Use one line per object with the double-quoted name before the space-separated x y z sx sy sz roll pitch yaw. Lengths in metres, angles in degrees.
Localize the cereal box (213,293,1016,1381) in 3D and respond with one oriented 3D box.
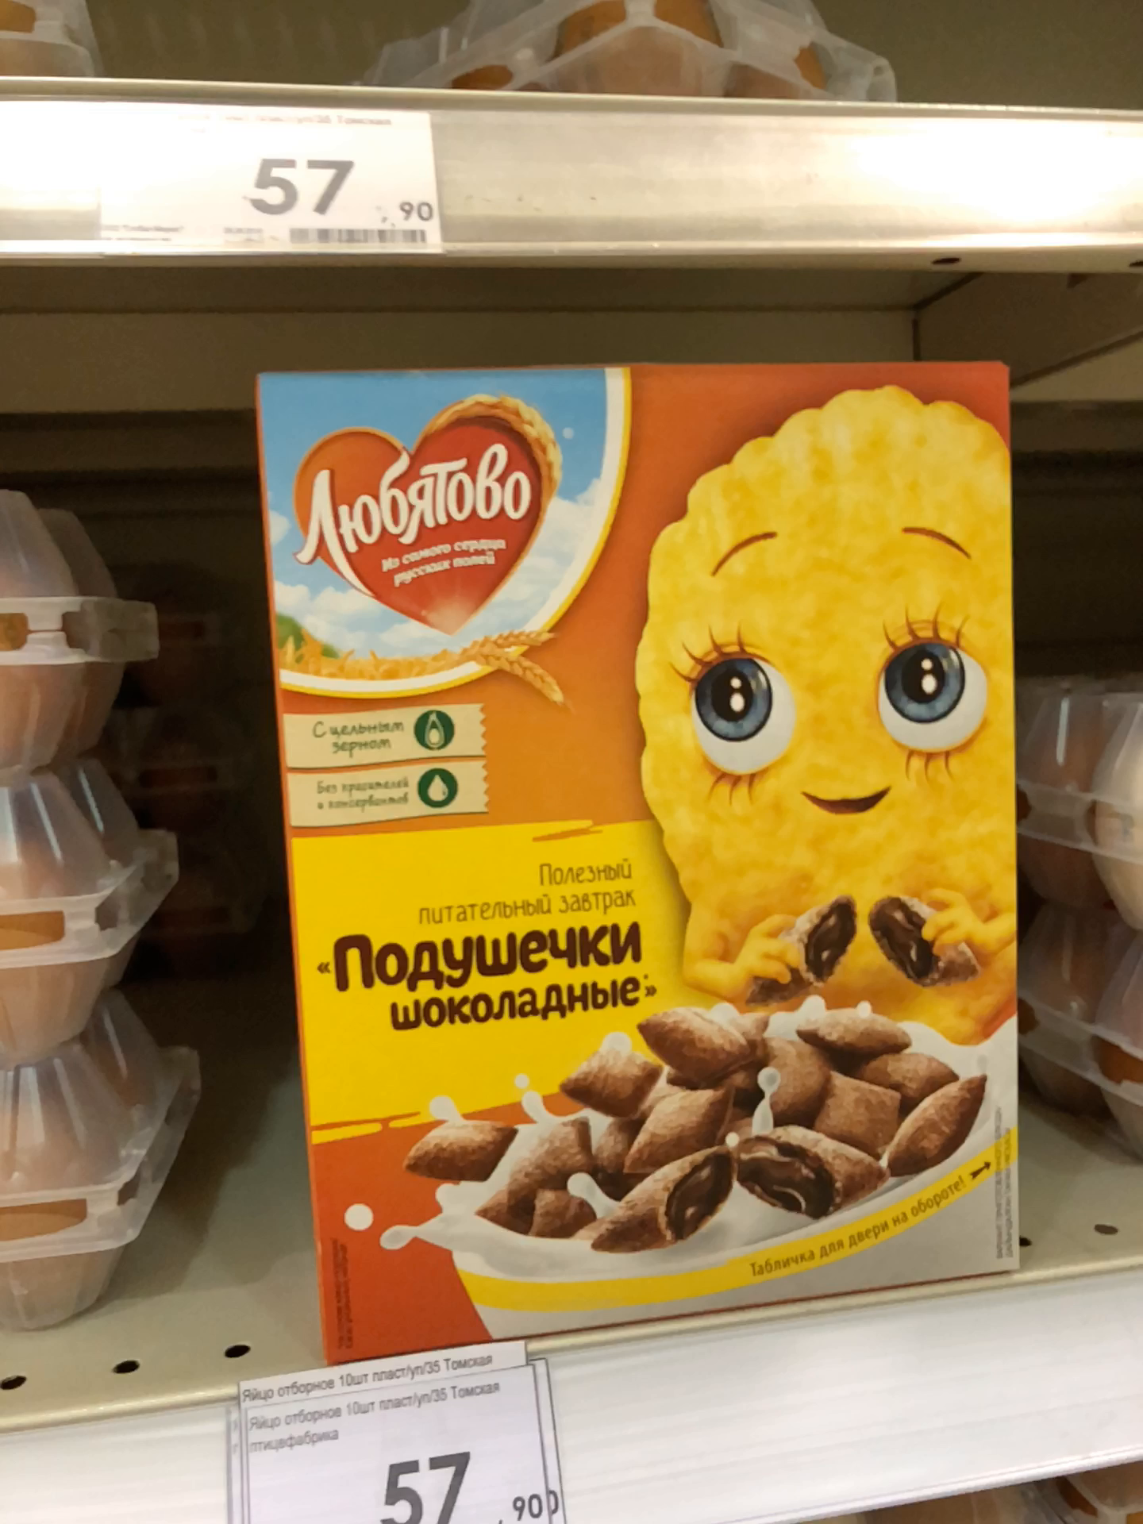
"cereal box" 0.015 0.014 0.311 0.180 0.240 0.040 -3 6 -10
